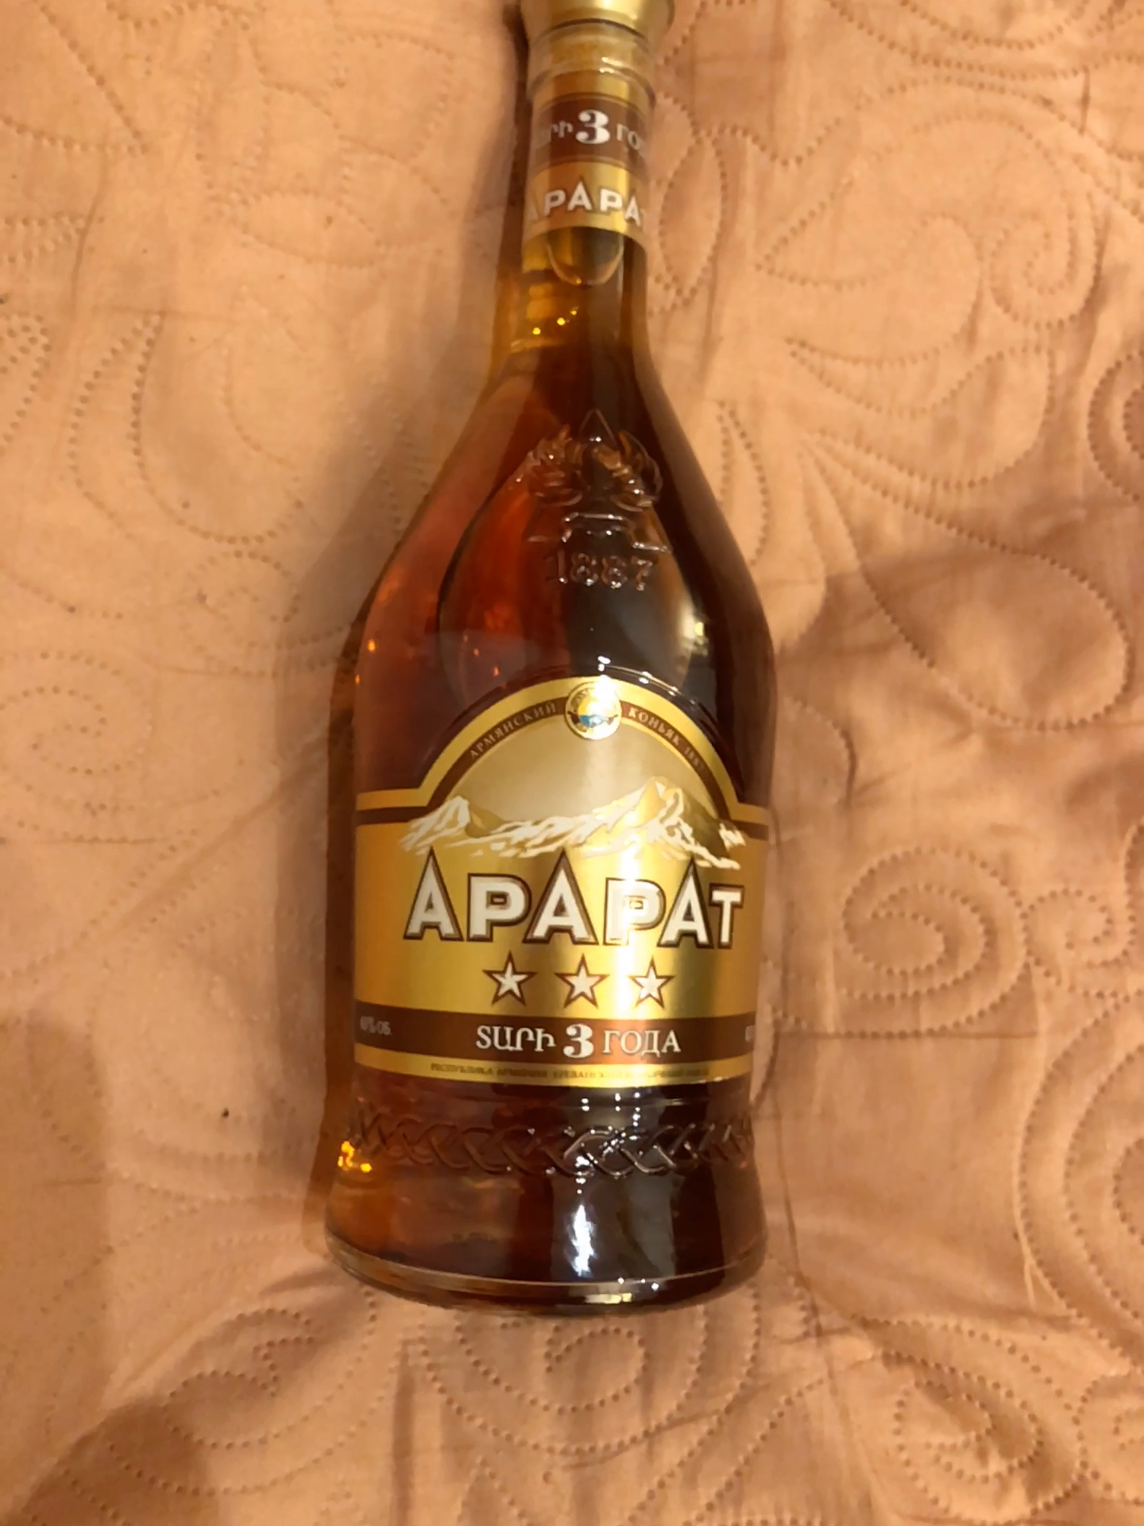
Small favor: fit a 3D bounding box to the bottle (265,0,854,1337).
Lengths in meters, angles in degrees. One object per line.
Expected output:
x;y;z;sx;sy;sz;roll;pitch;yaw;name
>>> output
-0.001;-0.032;0.261;0.090;0.090;0.257;0;80;0;bottle
